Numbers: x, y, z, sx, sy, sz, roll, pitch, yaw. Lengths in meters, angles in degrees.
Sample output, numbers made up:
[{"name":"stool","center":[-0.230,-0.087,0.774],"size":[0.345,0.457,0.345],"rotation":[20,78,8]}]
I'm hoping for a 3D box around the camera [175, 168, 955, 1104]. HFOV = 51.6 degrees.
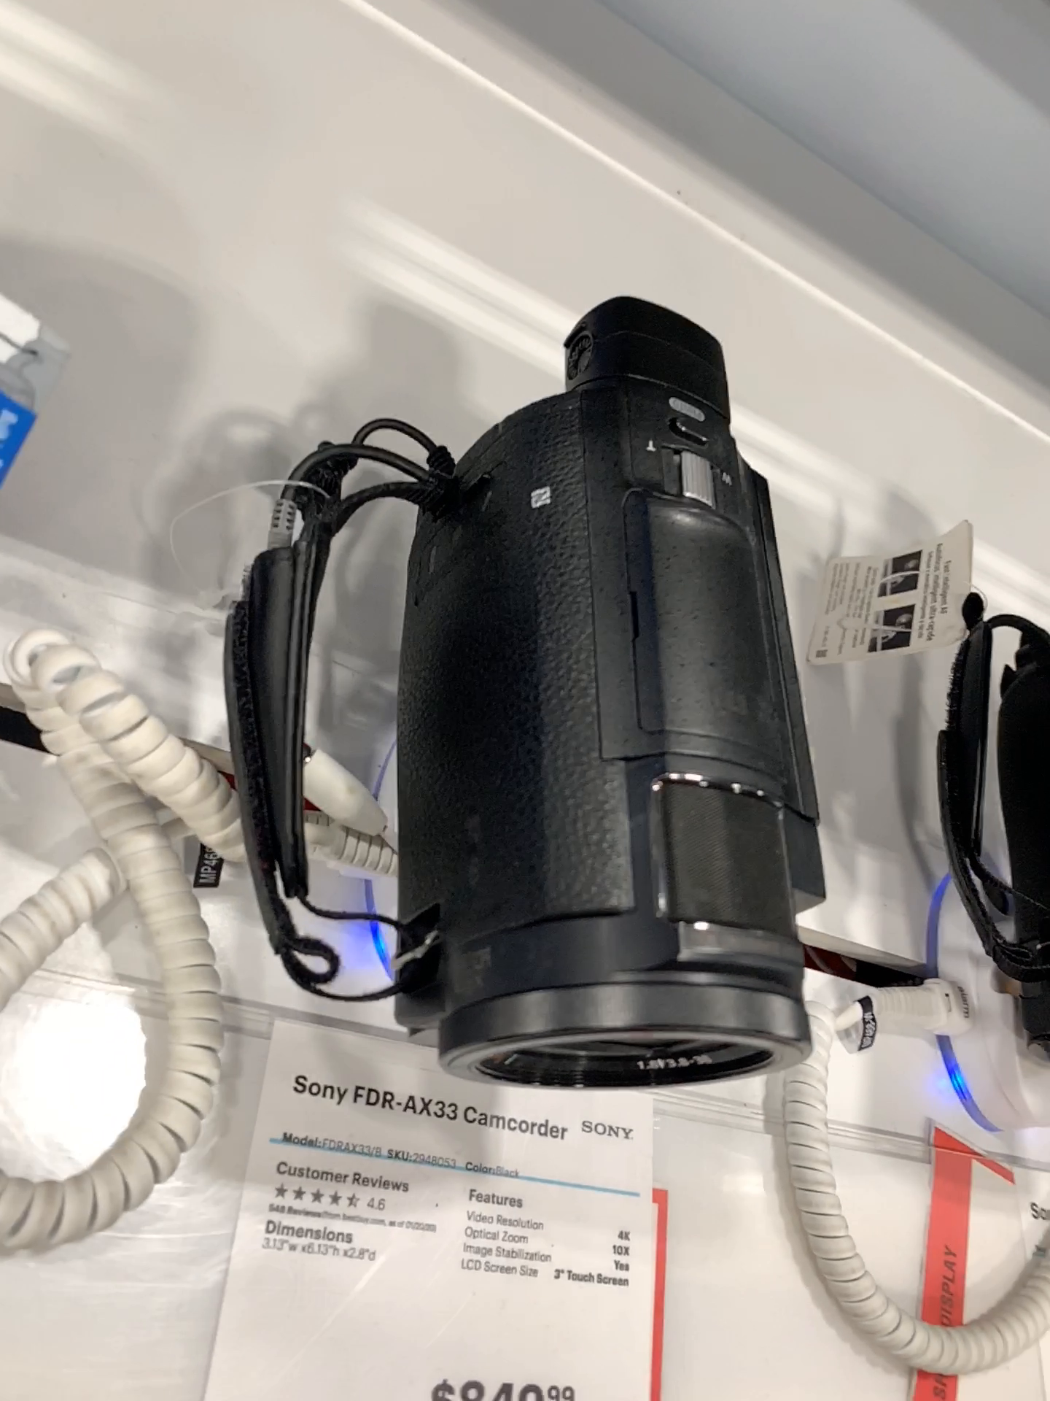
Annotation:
[{"name":"camera","center":[0.006,-0.004,0.202],"size":[0.103,0.067,0.136],"rotation":[16,59,-28]}]
